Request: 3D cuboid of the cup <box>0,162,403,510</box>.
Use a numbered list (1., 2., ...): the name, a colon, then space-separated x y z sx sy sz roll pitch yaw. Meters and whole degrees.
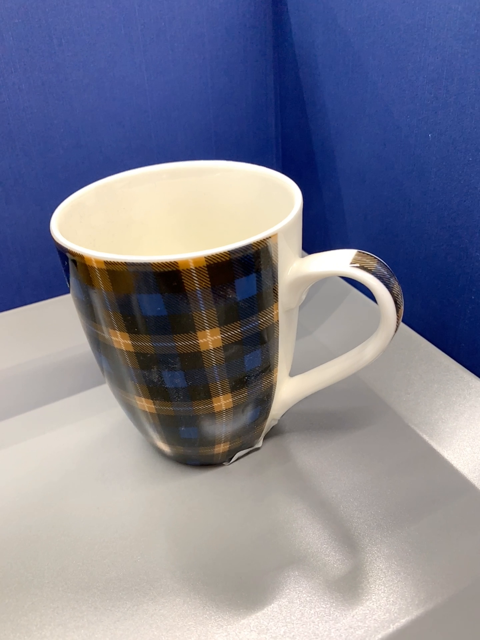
1. cup: -0.008 -0.003 0.196 0.121 0.089 0.095 4 33 12
